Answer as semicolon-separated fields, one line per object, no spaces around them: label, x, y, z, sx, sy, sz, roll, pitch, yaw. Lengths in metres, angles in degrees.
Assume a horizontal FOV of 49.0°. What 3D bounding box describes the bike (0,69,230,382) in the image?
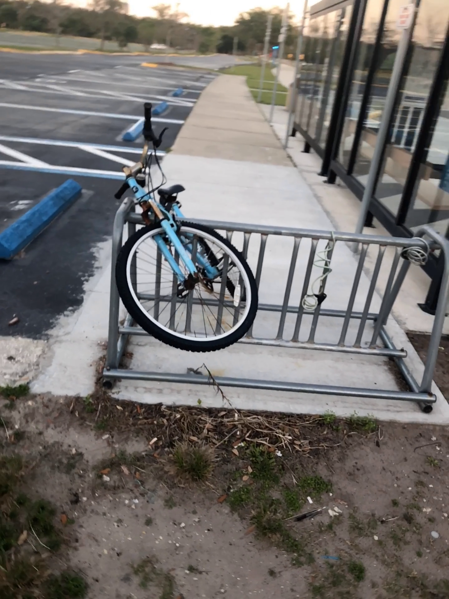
bike;-0.489;-0.364;2.282;0.548;1.128;0.941;16;25;18
